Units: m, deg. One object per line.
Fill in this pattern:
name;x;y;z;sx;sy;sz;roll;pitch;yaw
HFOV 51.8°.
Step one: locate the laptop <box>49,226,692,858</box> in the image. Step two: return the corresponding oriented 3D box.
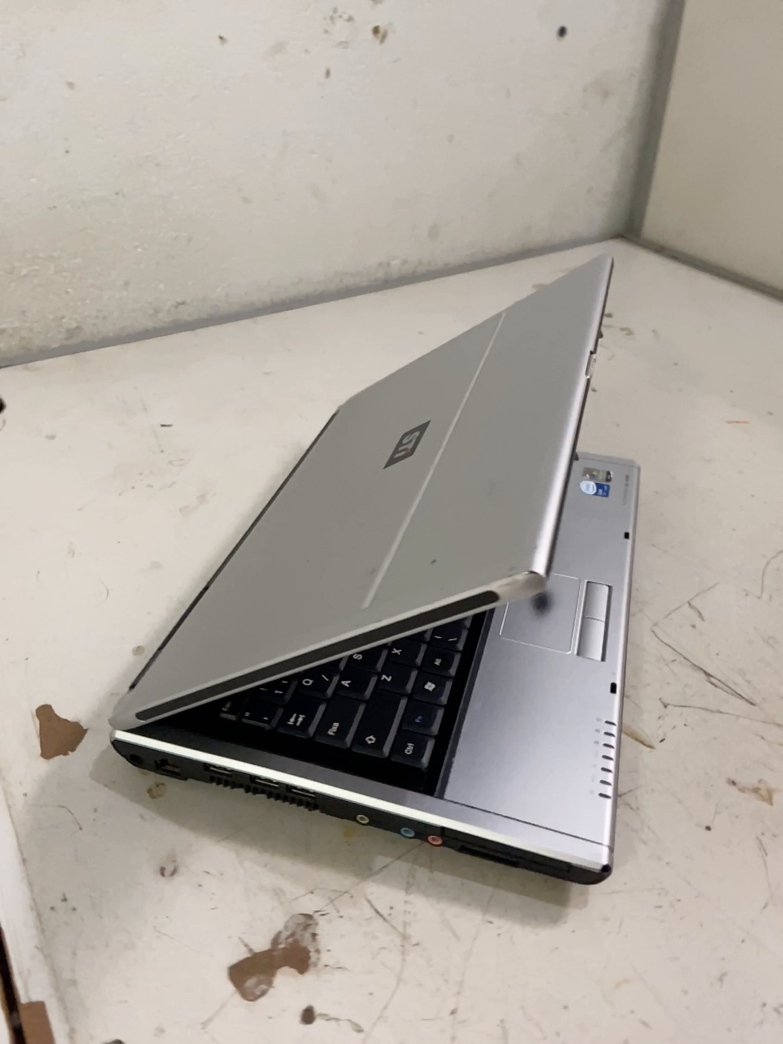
laptop;0.028;-0.031;0.436;0.226;0.144;0.321;10;37;13
